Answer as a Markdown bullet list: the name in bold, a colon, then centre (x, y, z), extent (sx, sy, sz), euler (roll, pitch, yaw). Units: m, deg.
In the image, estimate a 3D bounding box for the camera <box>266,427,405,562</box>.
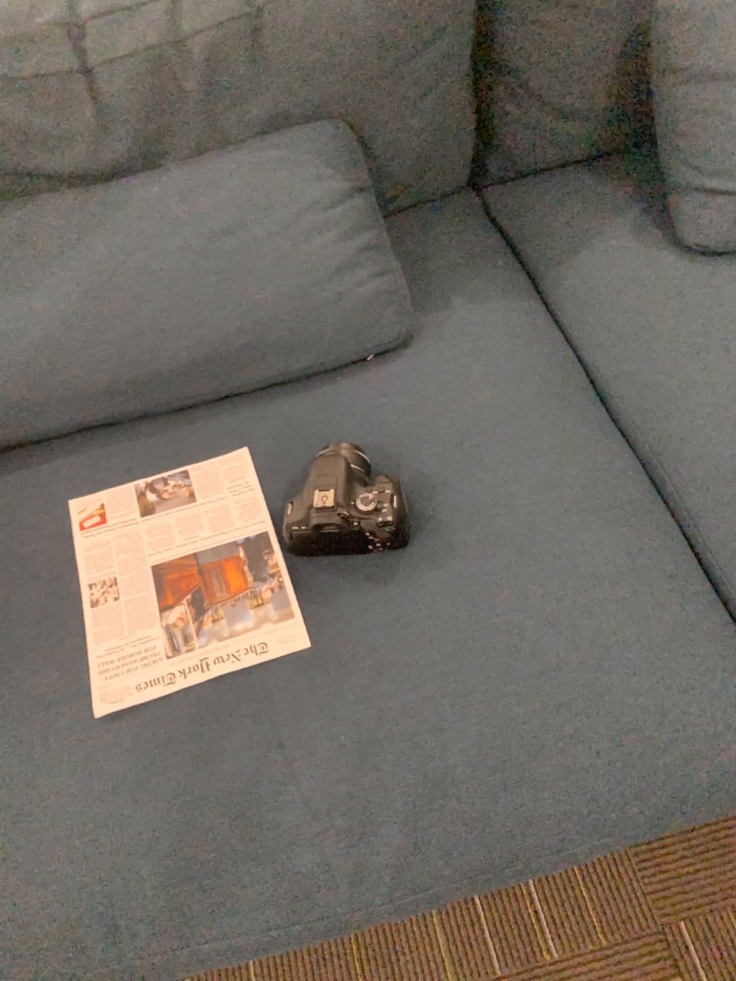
- **camera**: centre (-0.033, 0.006, 0.870), extent (0.140, 0.100, 0.110), euler (-5, 54, 7)
